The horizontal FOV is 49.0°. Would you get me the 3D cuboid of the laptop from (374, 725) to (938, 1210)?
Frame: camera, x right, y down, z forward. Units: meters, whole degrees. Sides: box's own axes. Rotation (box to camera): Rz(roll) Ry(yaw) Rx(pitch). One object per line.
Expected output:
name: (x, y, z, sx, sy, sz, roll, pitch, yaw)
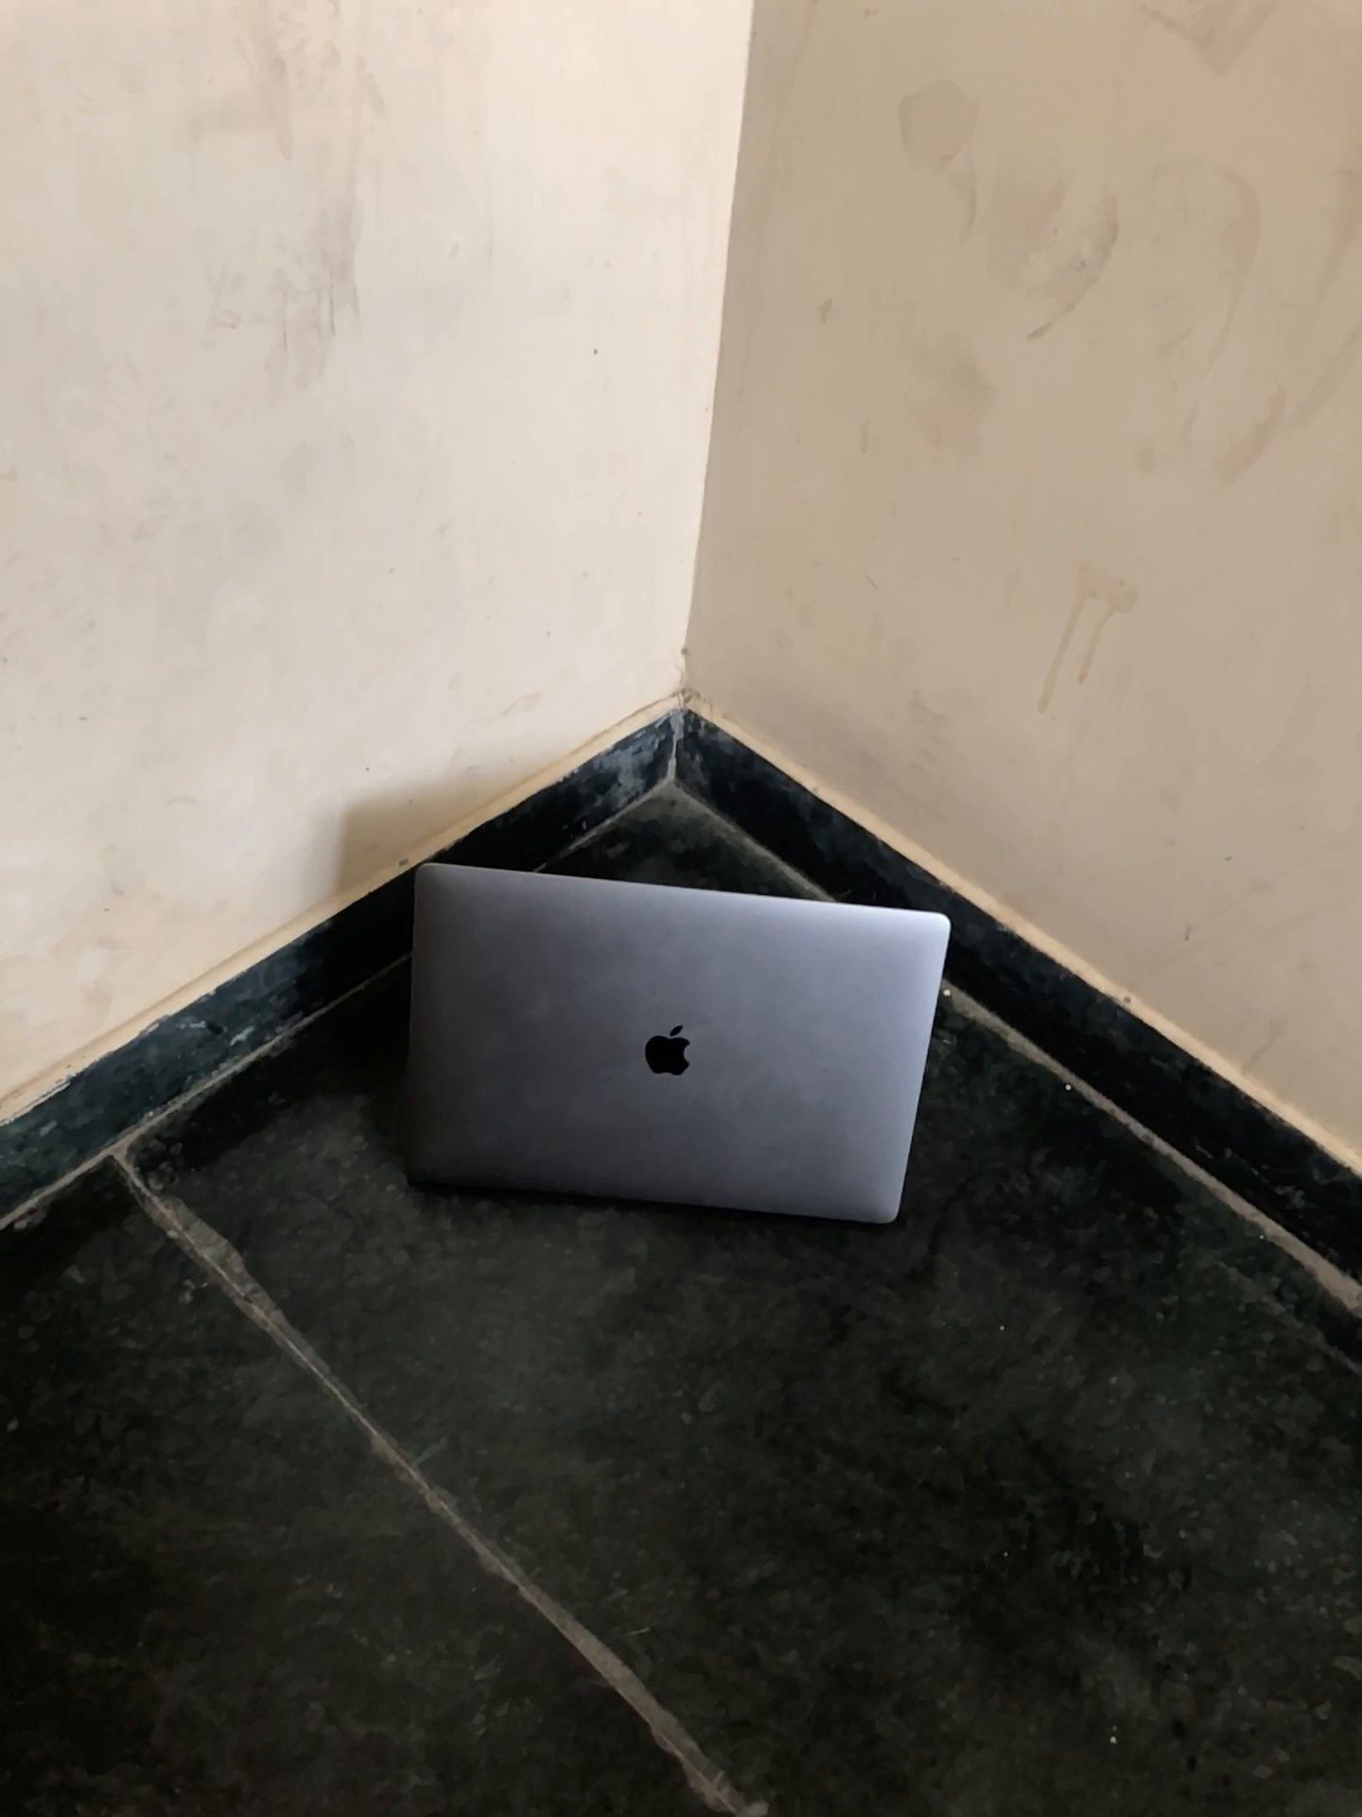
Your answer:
laptop: (-0.017, 0.040, 1.014, 0.329, 0.198, 0.222, 6, 48, 0)
